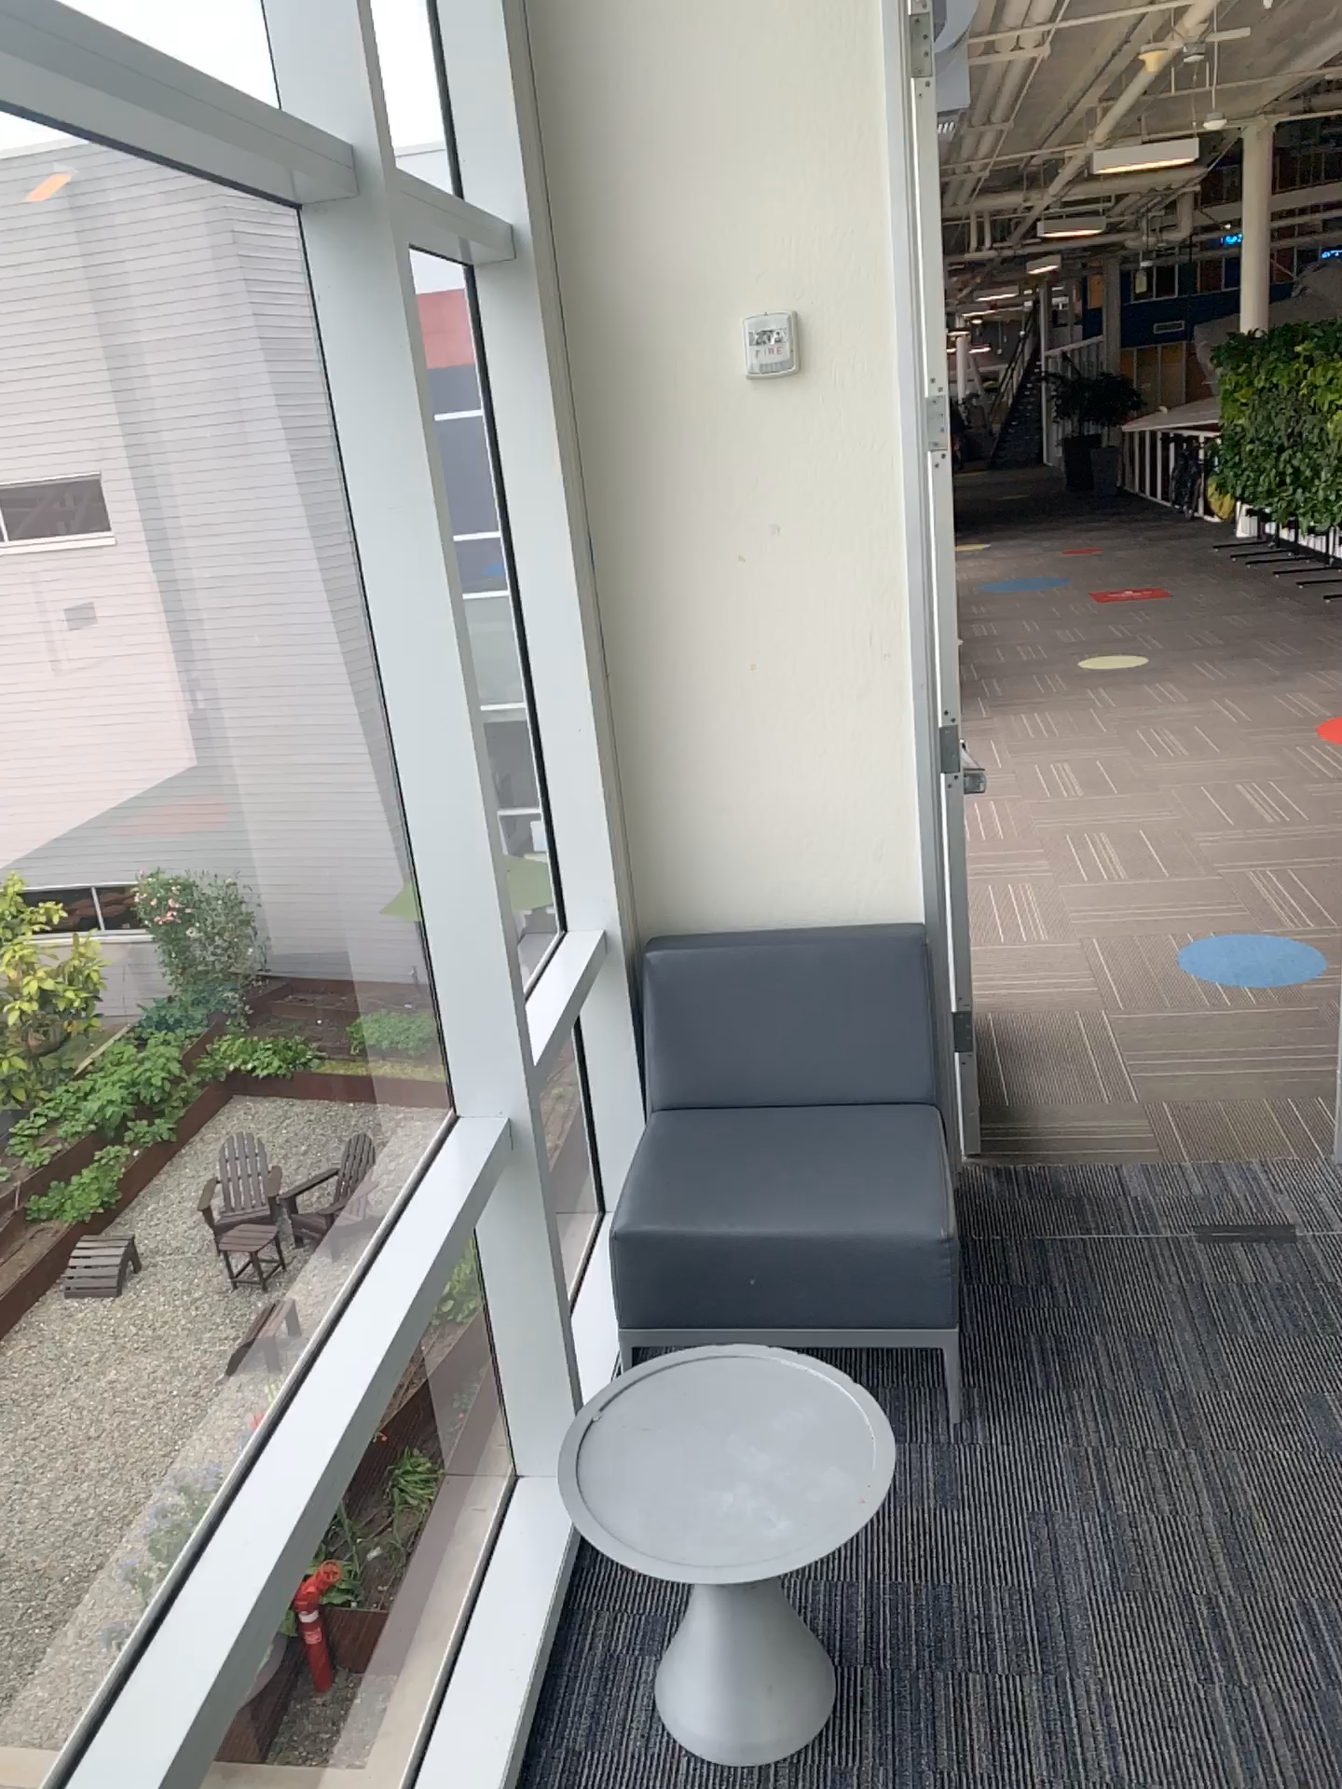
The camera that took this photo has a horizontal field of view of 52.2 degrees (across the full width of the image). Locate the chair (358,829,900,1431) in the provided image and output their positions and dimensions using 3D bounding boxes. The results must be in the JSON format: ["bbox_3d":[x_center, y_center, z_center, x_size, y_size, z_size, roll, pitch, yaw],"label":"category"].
[{"bbox_3d":[-0.001,0.498,3.233,1.001,0.996,1.004,-3,18,10],"label":"chair"}]
